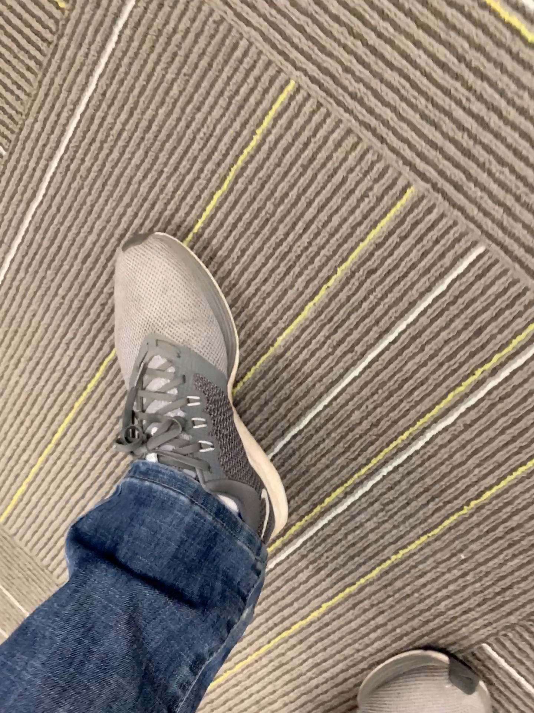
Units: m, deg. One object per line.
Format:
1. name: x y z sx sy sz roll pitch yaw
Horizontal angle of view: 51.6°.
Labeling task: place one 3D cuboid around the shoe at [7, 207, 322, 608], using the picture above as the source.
1. shoe: -0.077 0.051 0.474 0.132 0.092 0.313 -15 102 27

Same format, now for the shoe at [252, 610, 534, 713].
1. shoe: 0.114 0.402 0.530 0.128 0.092 0.301 31 118 11
